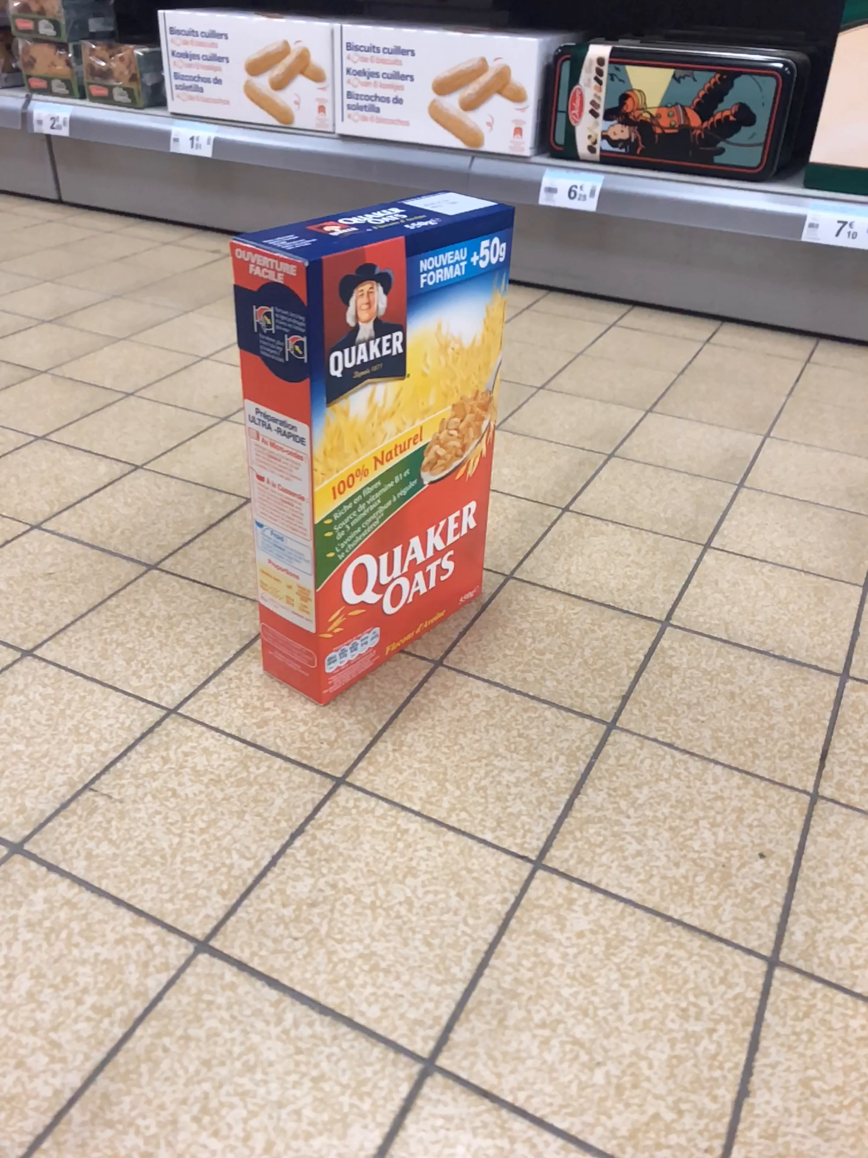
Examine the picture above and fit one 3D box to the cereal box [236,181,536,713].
[{"bbox_3d":[-0.020,-0.066,0.481,0.050,0.229,0.141,25,39,32],"label":"cereal box"}]
